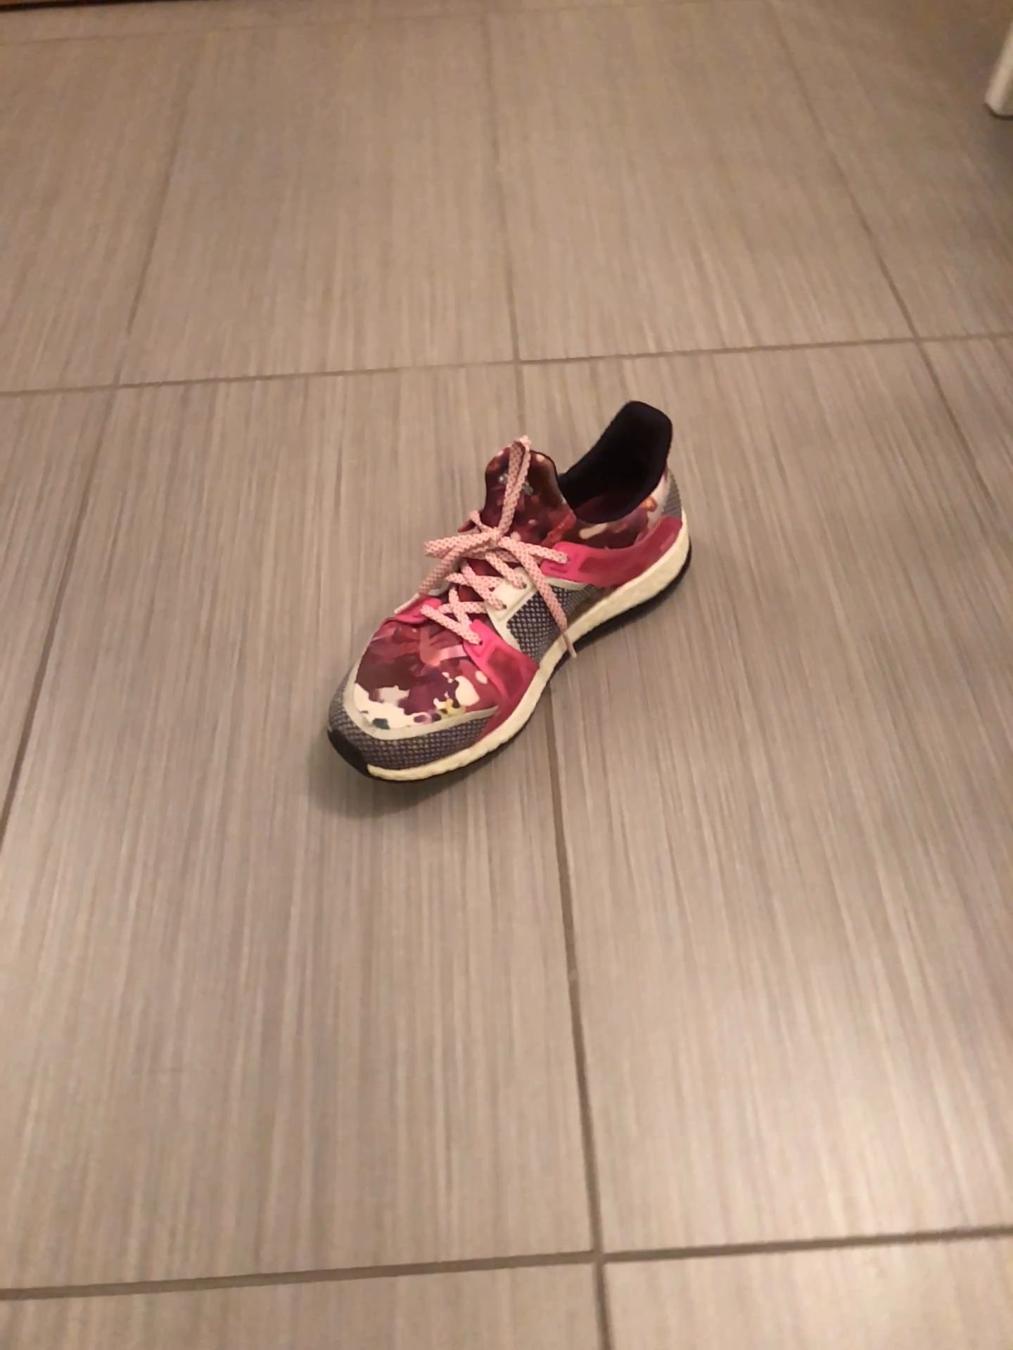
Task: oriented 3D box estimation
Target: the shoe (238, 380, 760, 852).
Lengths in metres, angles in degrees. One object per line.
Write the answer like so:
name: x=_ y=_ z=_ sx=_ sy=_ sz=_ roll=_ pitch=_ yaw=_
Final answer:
shoe: x=0.005 y=-0.044 z=0.630 sx=0.281 sy=0.090 sz=0.110 roll=-38 pitch=60 yaw=-24
